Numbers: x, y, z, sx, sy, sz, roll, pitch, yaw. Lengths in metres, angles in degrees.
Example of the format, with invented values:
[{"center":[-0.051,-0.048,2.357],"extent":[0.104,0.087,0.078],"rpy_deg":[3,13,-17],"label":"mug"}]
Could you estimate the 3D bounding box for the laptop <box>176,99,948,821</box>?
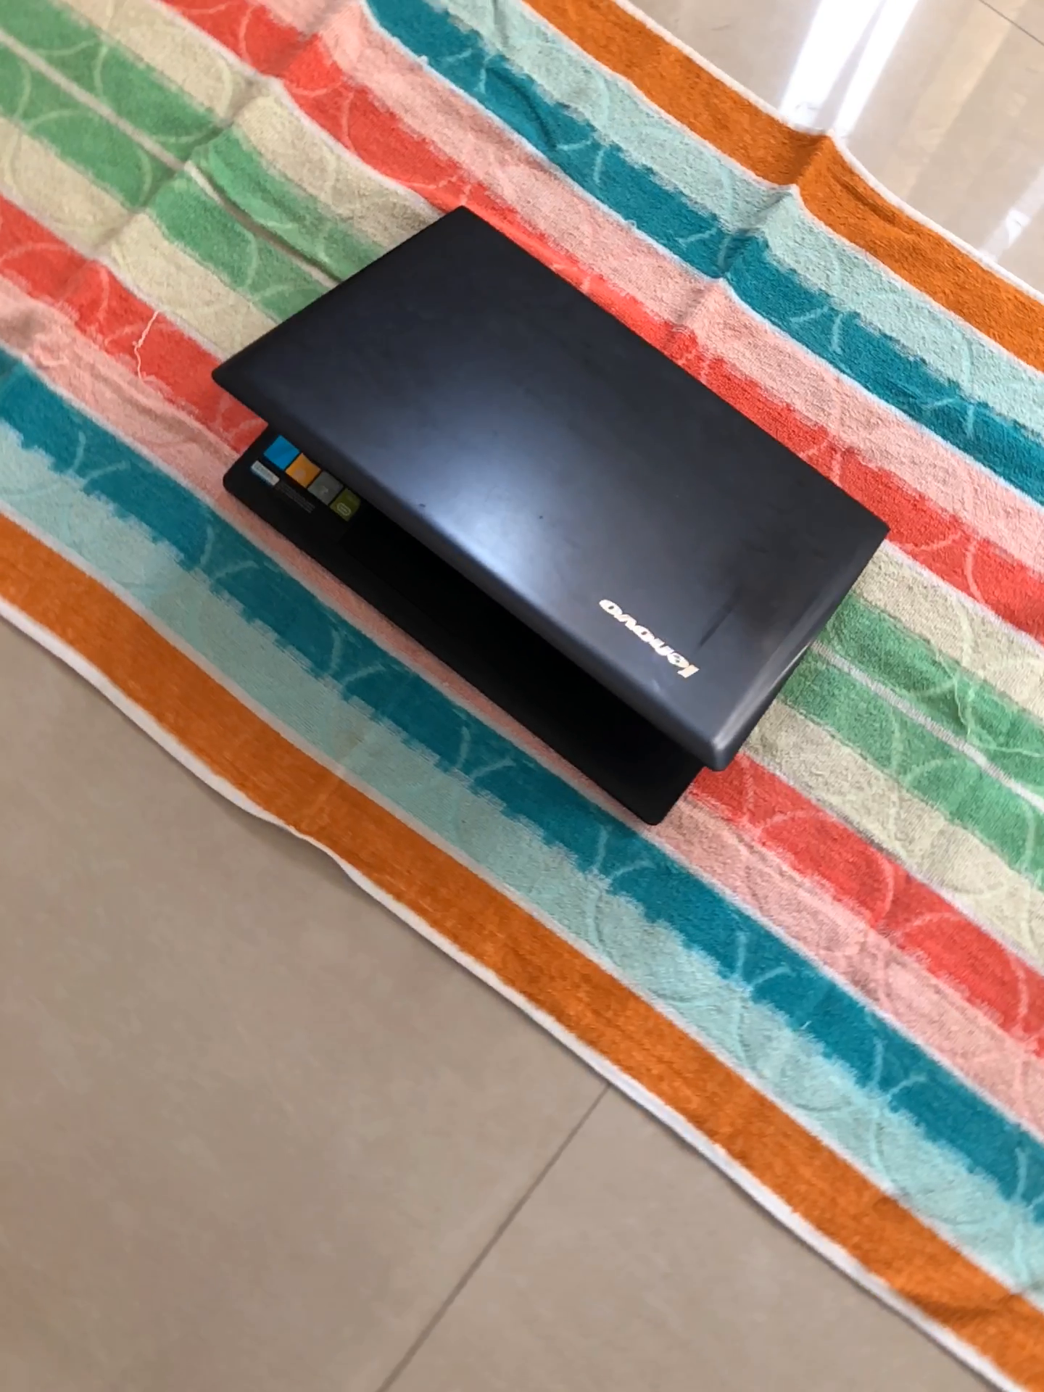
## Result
[{"center":[0.025,-0.140,0.711],"extent":[0.363,0.126,0.253],"rpy_deg":[38,78,4],"label":"laptop"}]
